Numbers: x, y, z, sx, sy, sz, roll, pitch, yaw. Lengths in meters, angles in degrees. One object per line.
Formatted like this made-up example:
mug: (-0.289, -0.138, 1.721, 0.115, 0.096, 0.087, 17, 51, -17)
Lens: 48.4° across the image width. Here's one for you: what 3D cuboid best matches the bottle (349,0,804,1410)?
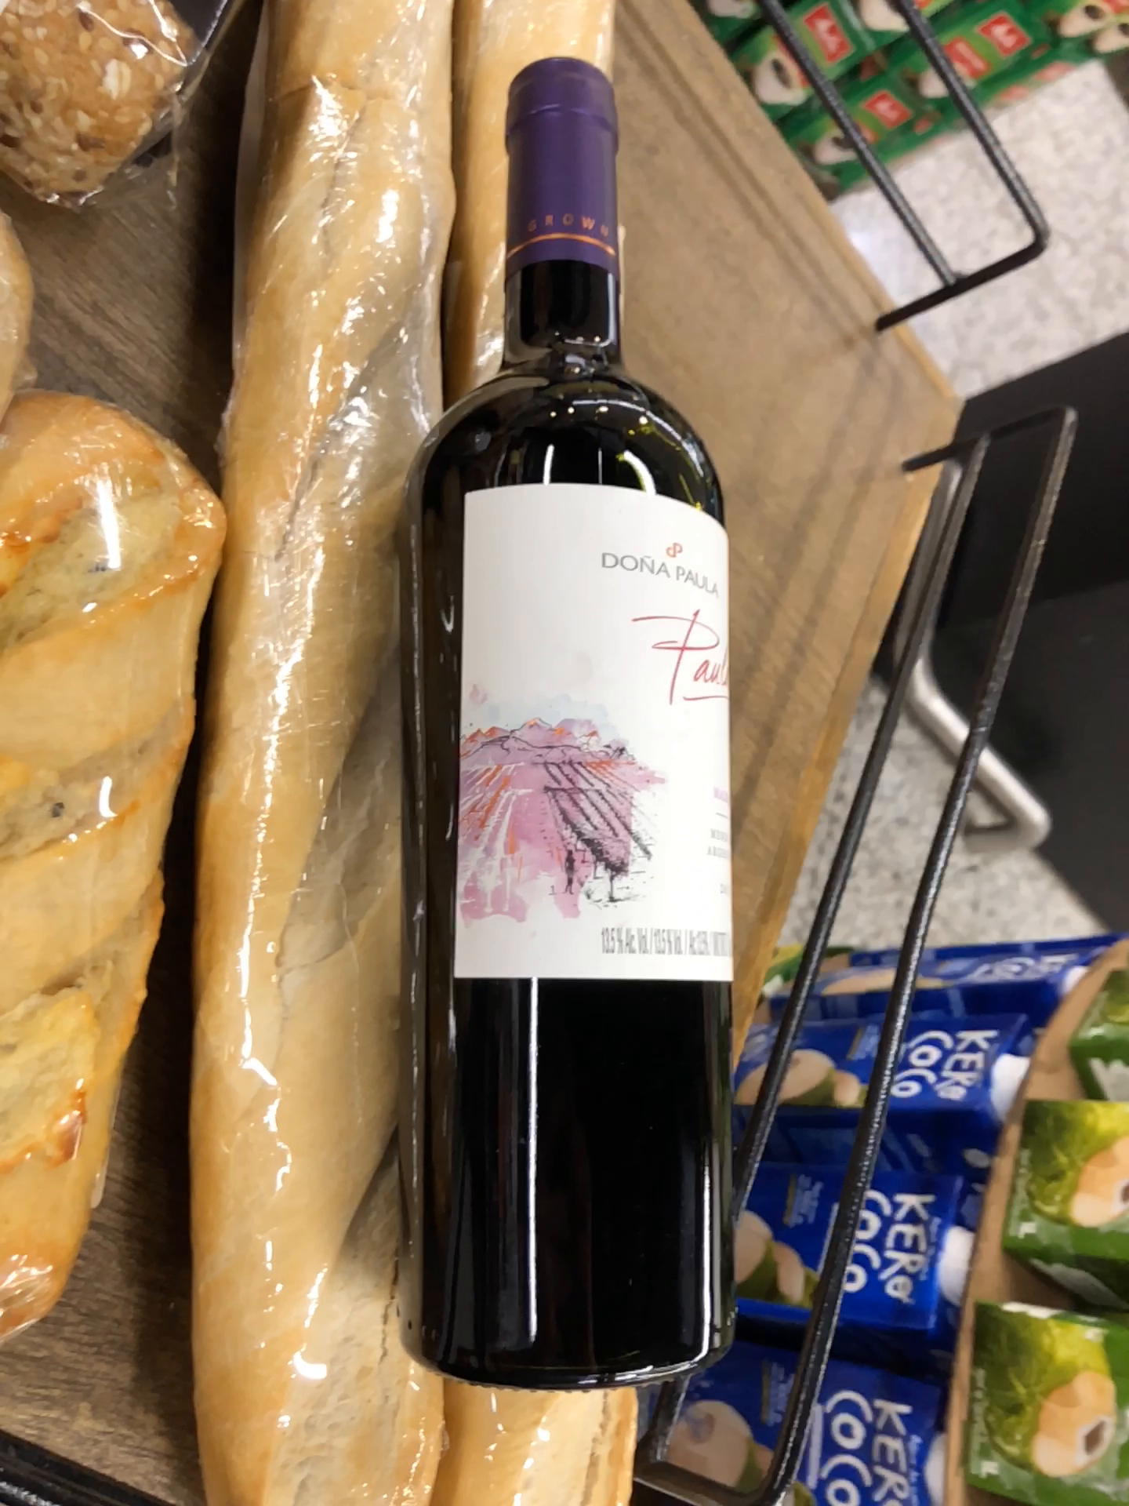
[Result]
bottle: (0.000, -0.029, 0.284, 0.070, 0.060, 0.300, 9, 75, -41)
